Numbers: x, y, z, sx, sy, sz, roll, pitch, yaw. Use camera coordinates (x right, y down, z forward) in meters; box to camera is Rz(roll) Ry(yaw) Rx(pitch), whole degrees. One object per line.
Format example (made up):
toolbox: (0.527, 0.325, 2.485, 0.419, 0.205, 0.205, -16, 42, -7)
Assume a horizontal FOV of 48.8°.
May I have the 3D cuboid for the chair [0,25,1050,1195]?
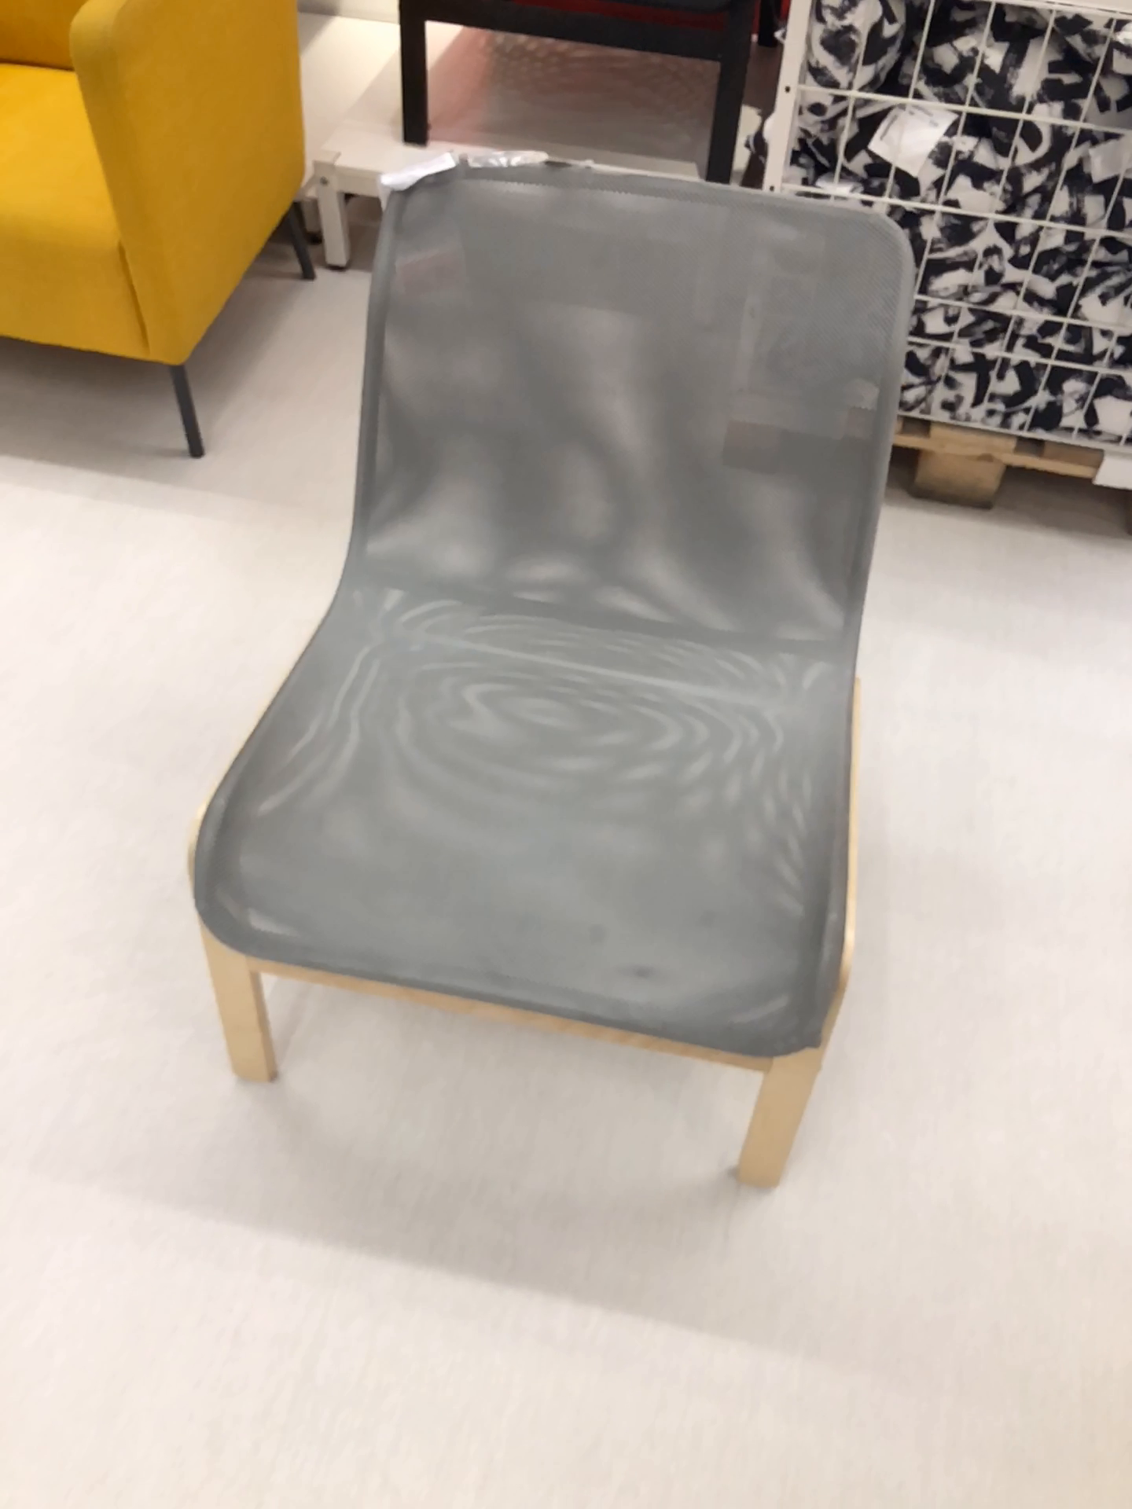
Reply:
chair: (-0.002, -0.099, 1.210, 0.630, 0.825, 0.643, 10, 51, 6)
